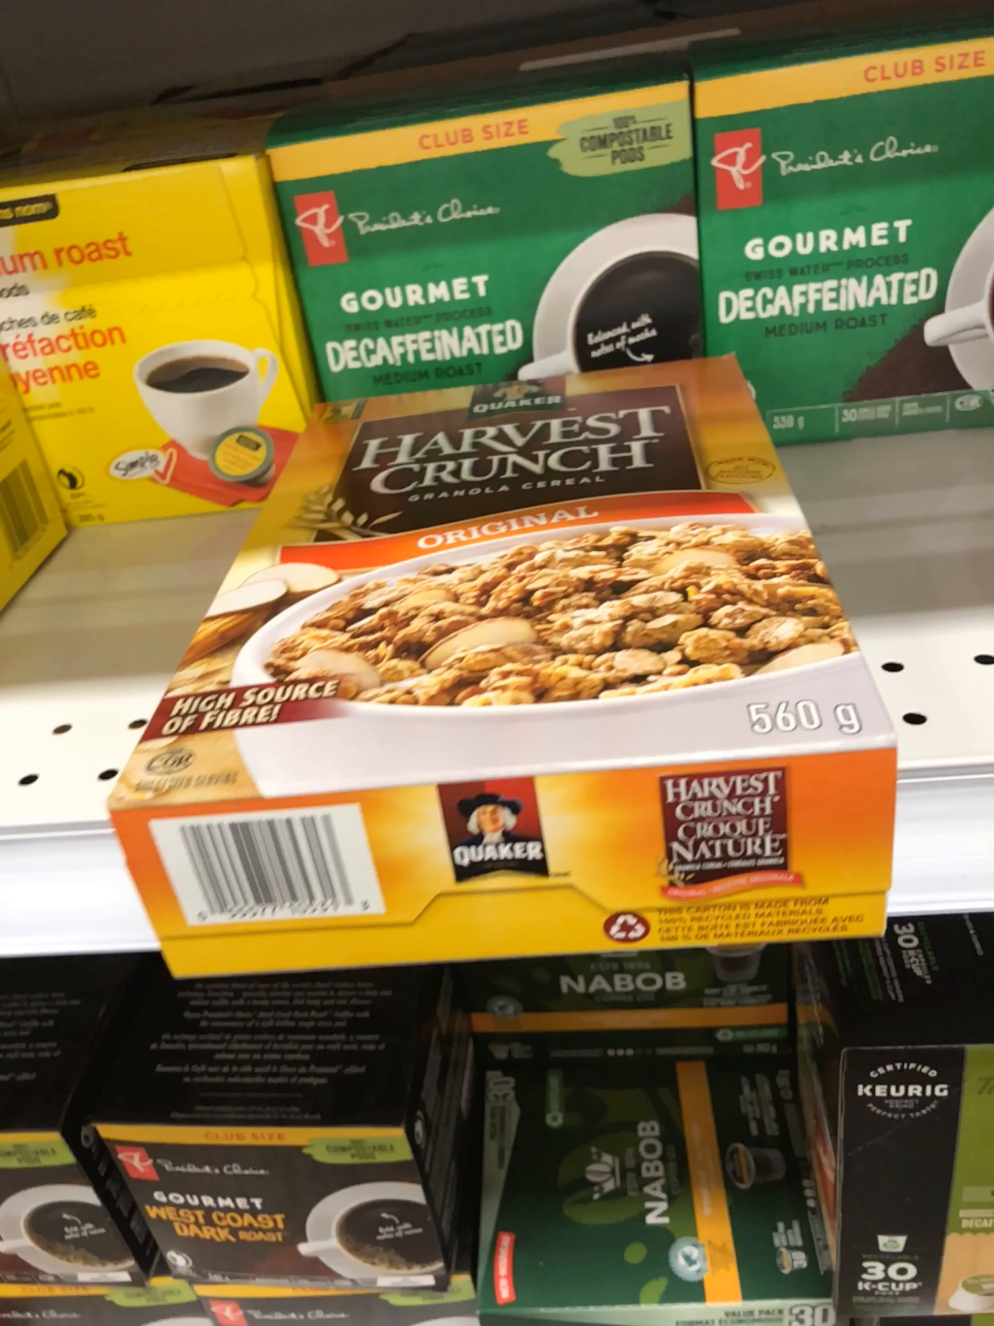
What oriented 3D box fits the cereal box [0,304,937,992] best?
[{"bbox_3d":[0.001,-0.034,0.330,0.170,0.050,0.281,-5,32,7],"label":"cereal box"}]
